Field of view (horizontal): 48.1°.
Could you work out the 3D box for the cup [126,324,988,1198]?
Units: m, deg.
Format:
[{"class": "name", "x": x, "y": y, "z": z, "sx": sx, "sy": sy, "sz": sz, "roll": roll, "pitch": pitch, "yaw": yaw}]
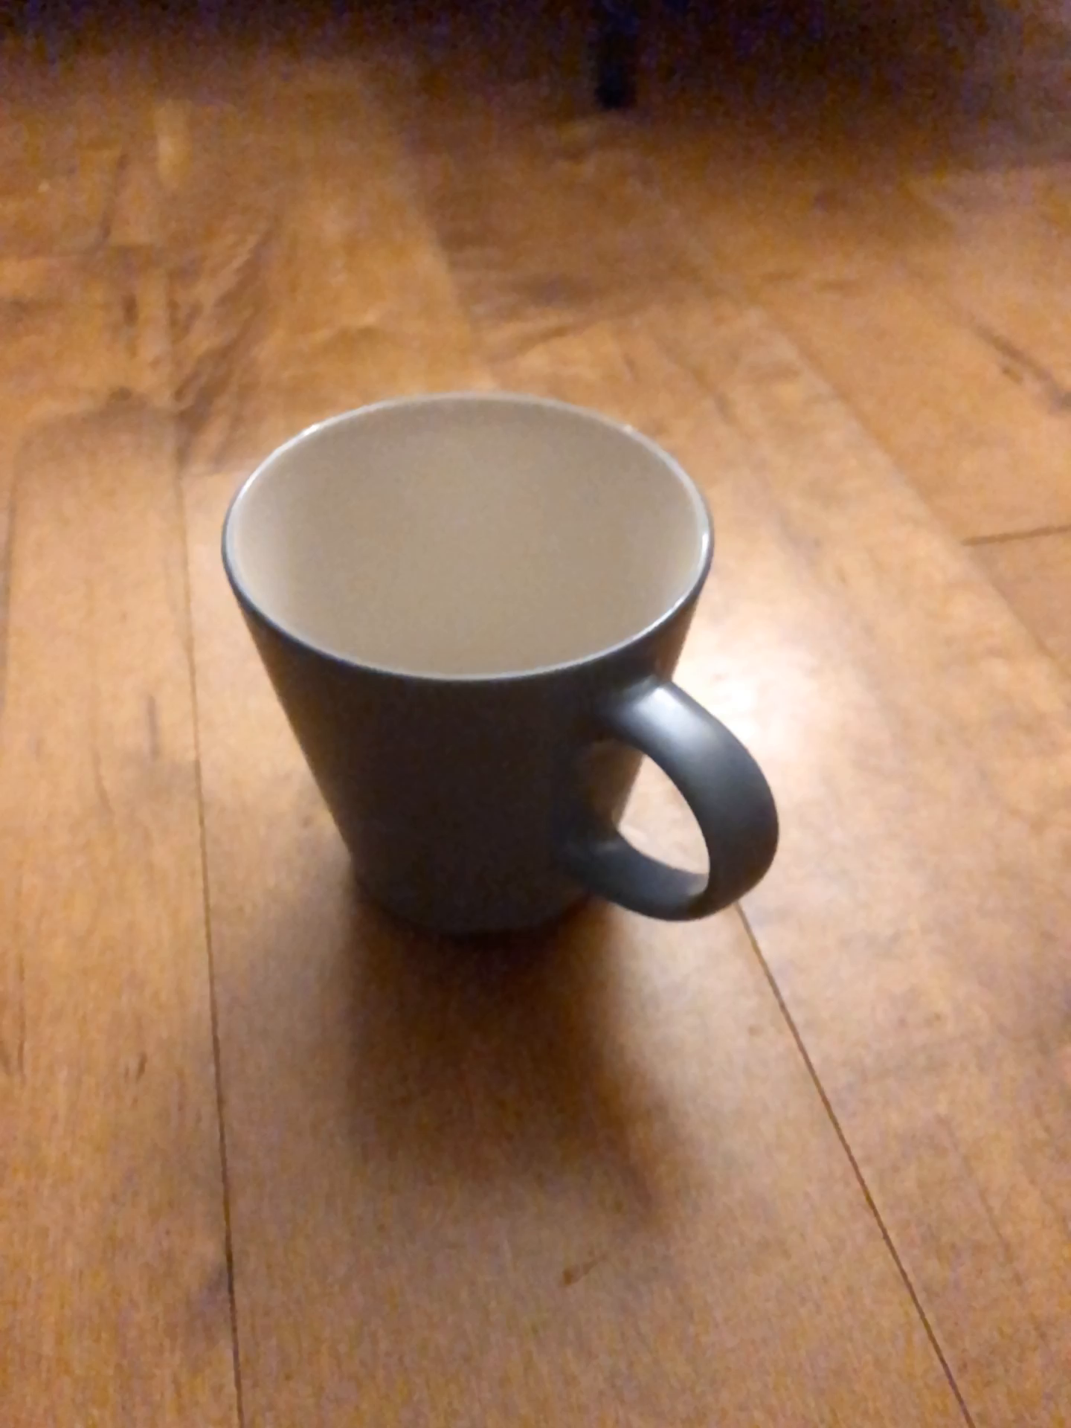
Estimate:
[{"class": "cup", "x": -0.002, "y": 0.000, "z": 0.266, "sx": 0.100, "sy": 0.099, "sz": 0.141, "roll": -29, "pitch": 51, "yaw": -27}]
